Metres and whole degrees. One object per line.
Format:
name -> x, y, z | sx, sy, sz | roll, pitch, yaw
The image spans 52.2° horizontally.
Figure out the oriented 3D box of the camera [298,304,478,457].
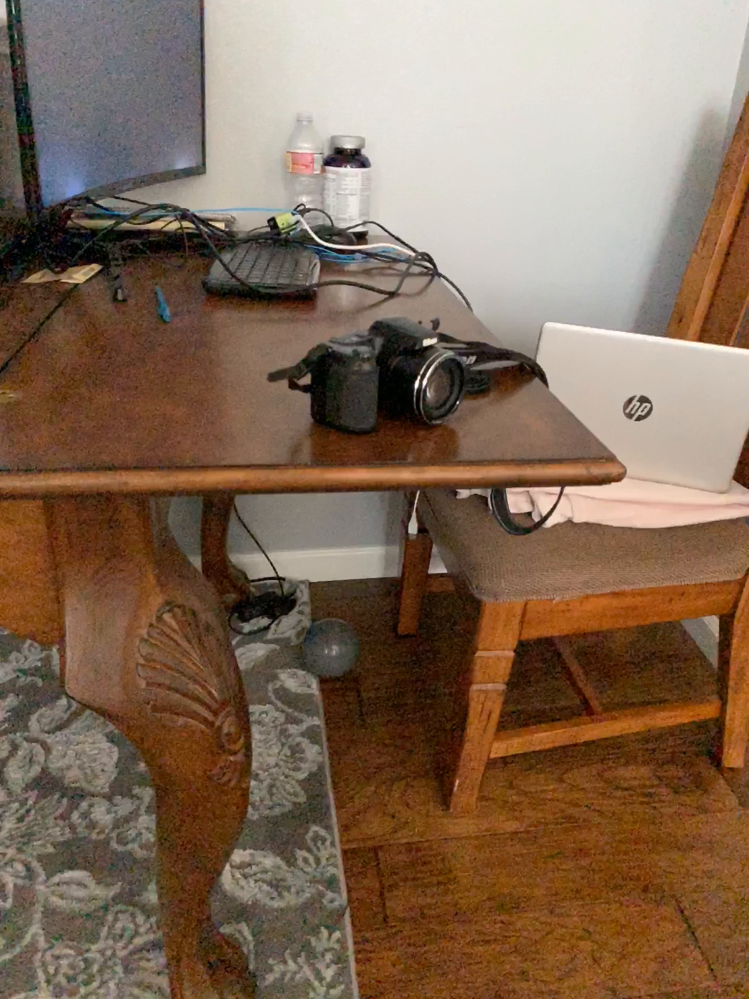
camera -> 0.011, -0.100, 0.616 | 0.090, 0.079, 0.110 | 25, 36, 38
